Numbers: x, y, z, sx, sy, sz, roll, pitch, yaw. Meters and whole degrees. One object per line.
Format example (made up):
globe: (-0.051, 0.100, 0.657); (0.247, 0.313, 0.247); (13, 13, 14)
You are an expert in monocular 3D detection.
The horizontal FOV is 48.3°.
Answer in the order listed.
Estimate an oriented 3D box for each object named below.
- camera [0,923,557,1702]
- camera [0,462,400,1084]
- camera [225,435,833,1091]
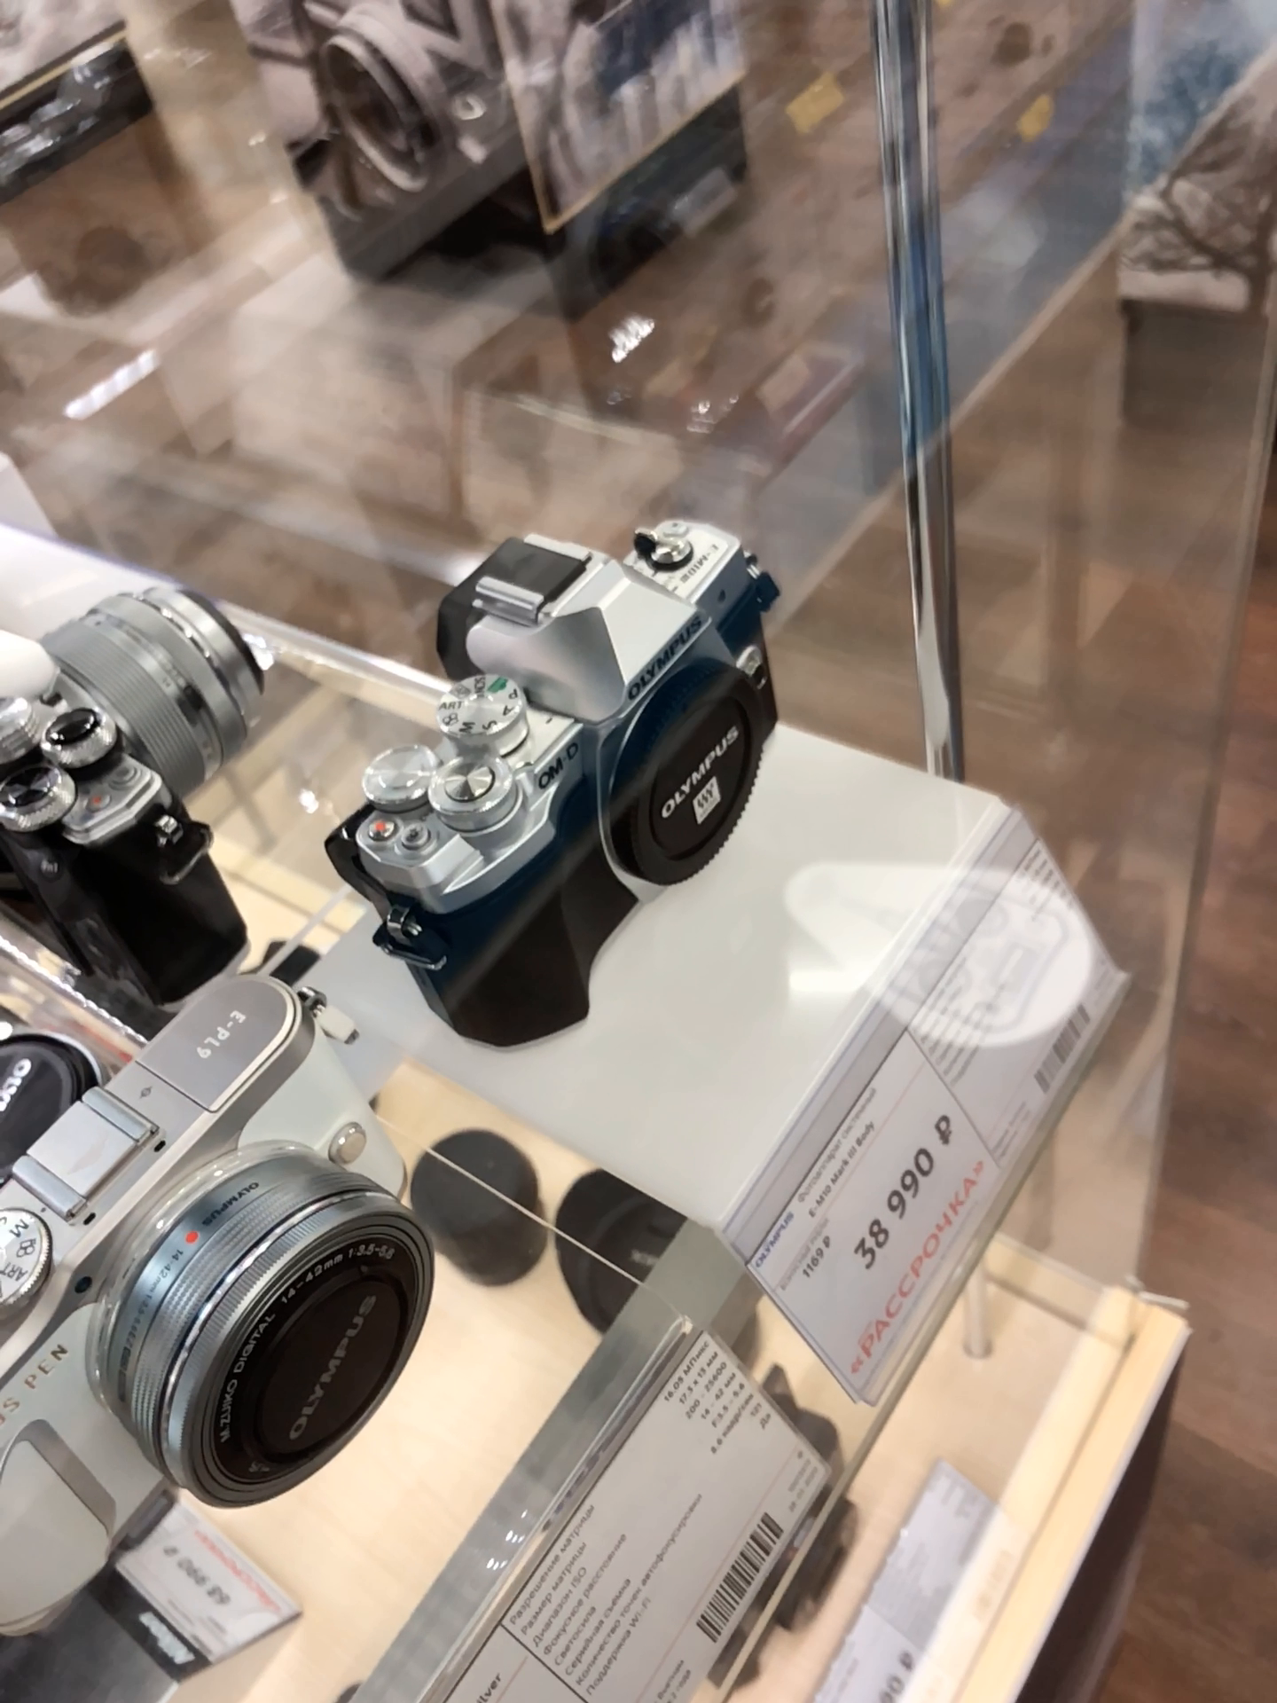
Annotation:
camera: (-0.087, 0.090, 0.265); (0.068, 0.068, 0.125); (23, 58, 31)
camera: (-0.157, -0.026, 0.373); (0.136, 0.084, 0.101); (19, 56, 29)
camera: (-0.017, -0.024, 0.331); (0.064, 0.077, 0.122); (22, 58, 30)
